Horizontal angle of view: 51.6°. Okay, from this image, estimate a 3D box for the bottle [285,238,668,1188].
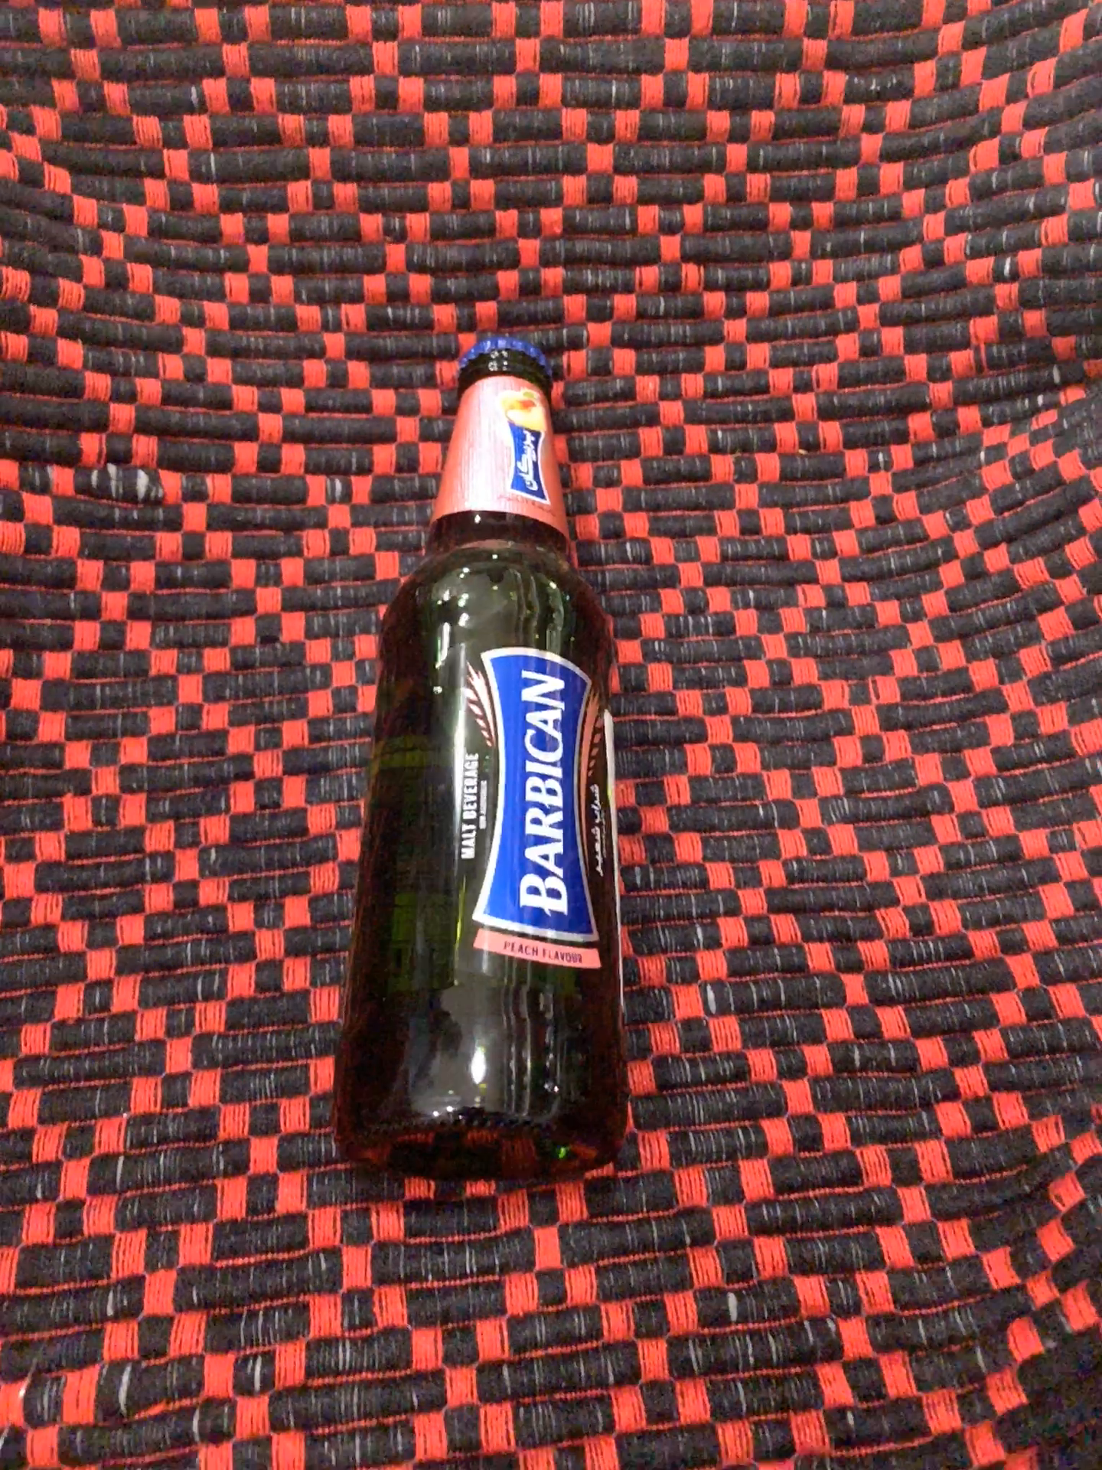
[{"bbox_3d":[-0.013,-0.017,0.268,0.050,0.050,0.220,-21,52,30],"label":"bottle"}]
